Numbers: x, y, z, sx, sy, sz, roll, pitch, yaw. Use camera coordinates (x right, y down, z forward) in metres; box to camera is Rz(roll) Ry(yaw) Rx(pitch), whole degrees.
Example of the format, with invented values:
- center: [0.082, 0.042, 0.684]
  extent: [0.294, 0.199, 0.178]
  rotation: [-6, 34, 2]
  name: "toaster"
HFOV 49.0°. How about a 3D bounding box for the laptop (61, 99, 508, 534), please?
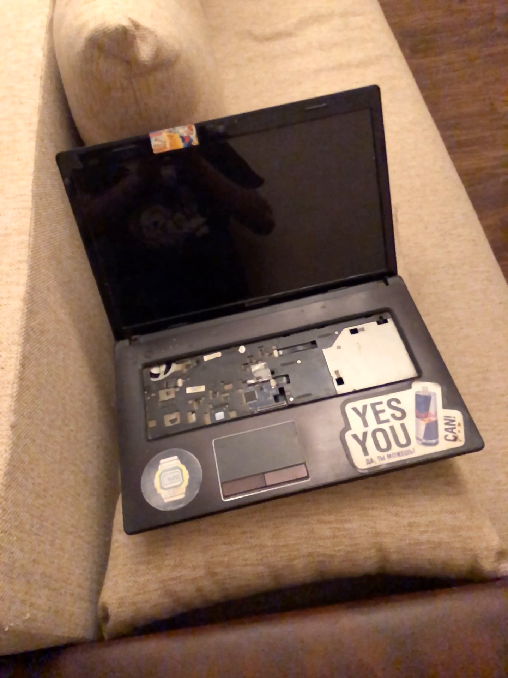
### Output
- center: [0.011, -0.042, 0.663]
  extent: [0.412, 0.198, 0.409]
  rotation: [-12, 56, -2]
  name: "laptop"
